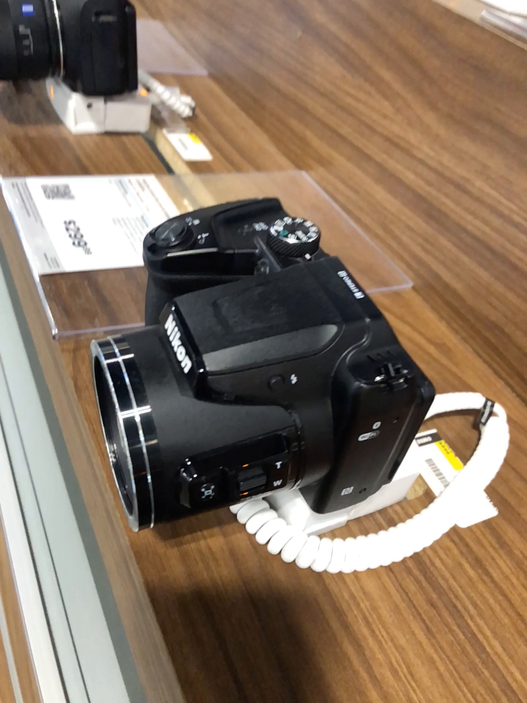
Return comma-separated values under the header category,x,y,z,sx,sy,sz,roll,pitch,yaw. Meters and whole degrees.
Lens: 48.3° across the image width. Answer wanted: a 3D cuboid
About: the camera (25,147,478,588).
category,x,y,z,sx,sy,sz,roll,pitch,yaw
camera,-0.018,-0.009,0.209,0.100,0.070,0.131,-10,48,-29
